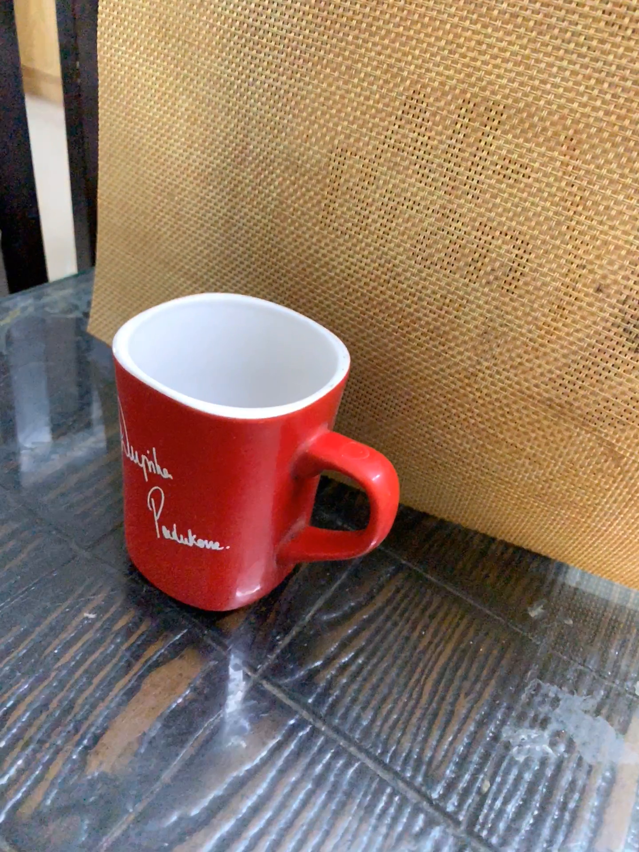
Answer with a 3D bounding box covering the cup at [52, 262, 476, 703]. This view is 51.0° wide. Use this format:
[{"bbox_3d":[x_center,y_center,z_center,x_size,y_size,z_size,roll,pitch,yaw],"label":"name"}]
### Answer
[{"bbox_3d":[-0.021,0.011,0.214,0.100,0.079,0.070,30,40,25],"label":"cup"}]
